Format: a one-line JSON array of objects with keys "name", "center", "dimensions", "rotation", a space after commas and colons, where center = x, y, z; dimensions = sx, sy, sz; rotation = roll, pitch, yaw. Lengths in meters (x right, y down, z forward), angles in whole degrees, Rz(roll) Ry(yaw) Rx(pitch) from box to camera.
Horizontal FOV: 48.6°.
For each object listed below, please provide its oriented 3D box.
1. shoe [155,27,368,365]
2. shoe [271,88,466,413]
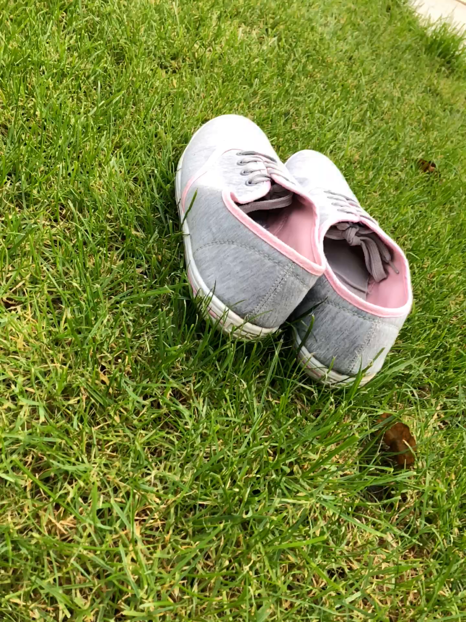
[{"name": "shoe", "center": [0.015, -0.101, 0.399], "dimensions": [0.100, 0.089, 0.261], "rotation": [17, 47, -18]}, {"name": "shoe", "center": [0.102, -0.062, 0.428], "dimensions": [0.100, 0.089, 0.261], "rotation": [17, 47, -18]}]
